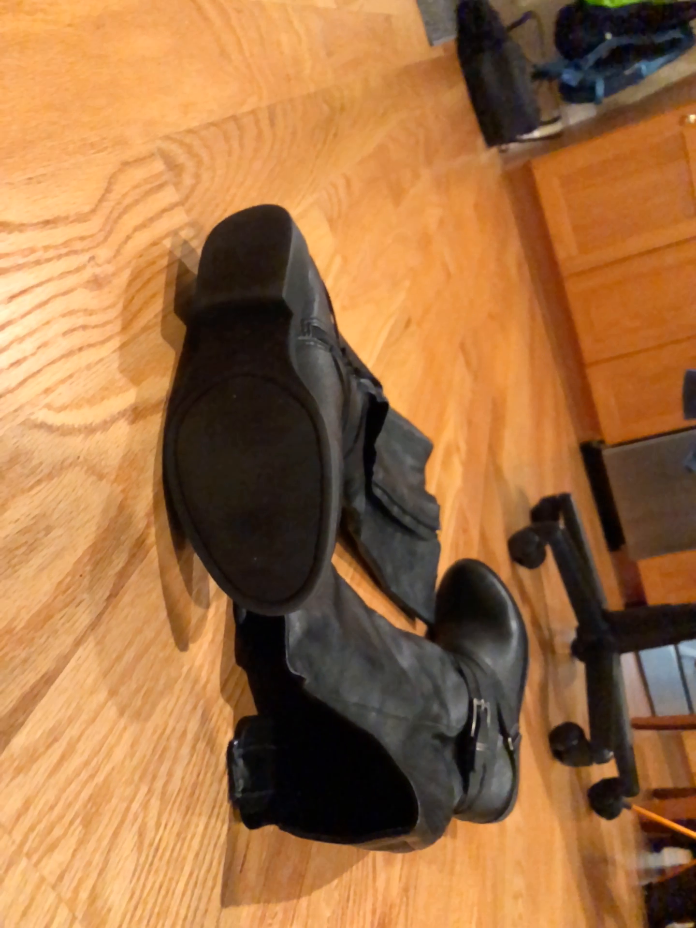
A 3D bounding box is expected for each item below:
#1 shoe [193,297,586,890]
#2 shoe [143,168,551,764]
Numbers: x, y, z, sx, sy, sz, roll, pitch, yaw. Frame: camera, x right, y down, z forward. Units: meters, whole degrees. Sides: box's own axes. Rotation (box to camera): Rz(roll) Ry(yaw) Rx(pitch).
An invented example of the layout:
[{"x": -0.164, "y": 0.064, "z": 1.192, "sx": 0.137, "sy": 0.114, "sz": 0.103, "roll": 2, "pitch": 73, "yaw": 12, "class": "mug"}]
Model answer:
[{"x": 0.059, "y": 0.132, "z": 0.549, "sx": 0.404, "sy": 0.104, "sz": 0.291, "roll": 49, "pitch": 33, "yaw": -53, "class": "shoe"}, {"x": 0.034, "y": 0.041, "z": 0.543, "sx": 0.394, "sy": 0.094, "sz": 0.251, "roll": 48, "pitch": 34, "yaw": -51, "class": "shoe"}]
